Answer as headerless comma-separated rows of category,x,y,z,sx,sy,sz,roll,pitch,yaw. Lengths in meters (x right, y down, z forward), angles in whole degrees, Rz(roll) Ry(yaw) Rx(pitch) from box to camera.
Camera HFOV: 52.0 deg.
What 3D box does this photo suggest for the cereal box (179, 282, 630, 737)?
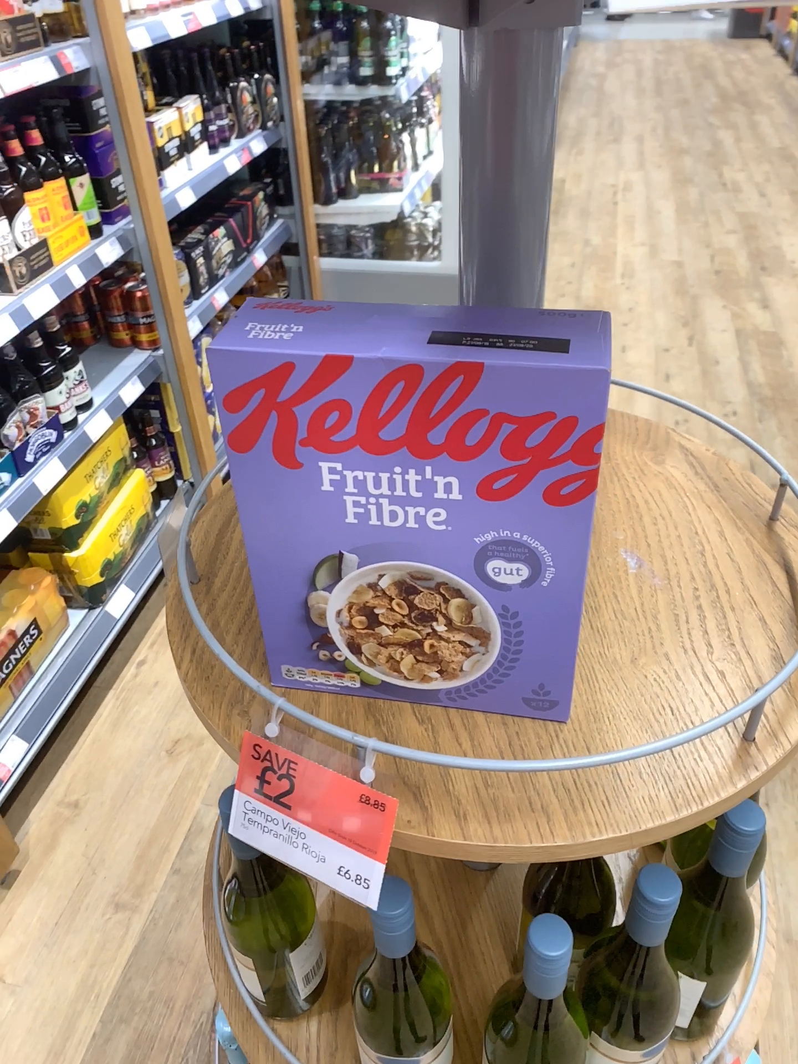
cereal box,0.008,-0.005,0.454,0.200,0.238,0.071,6,38,10
